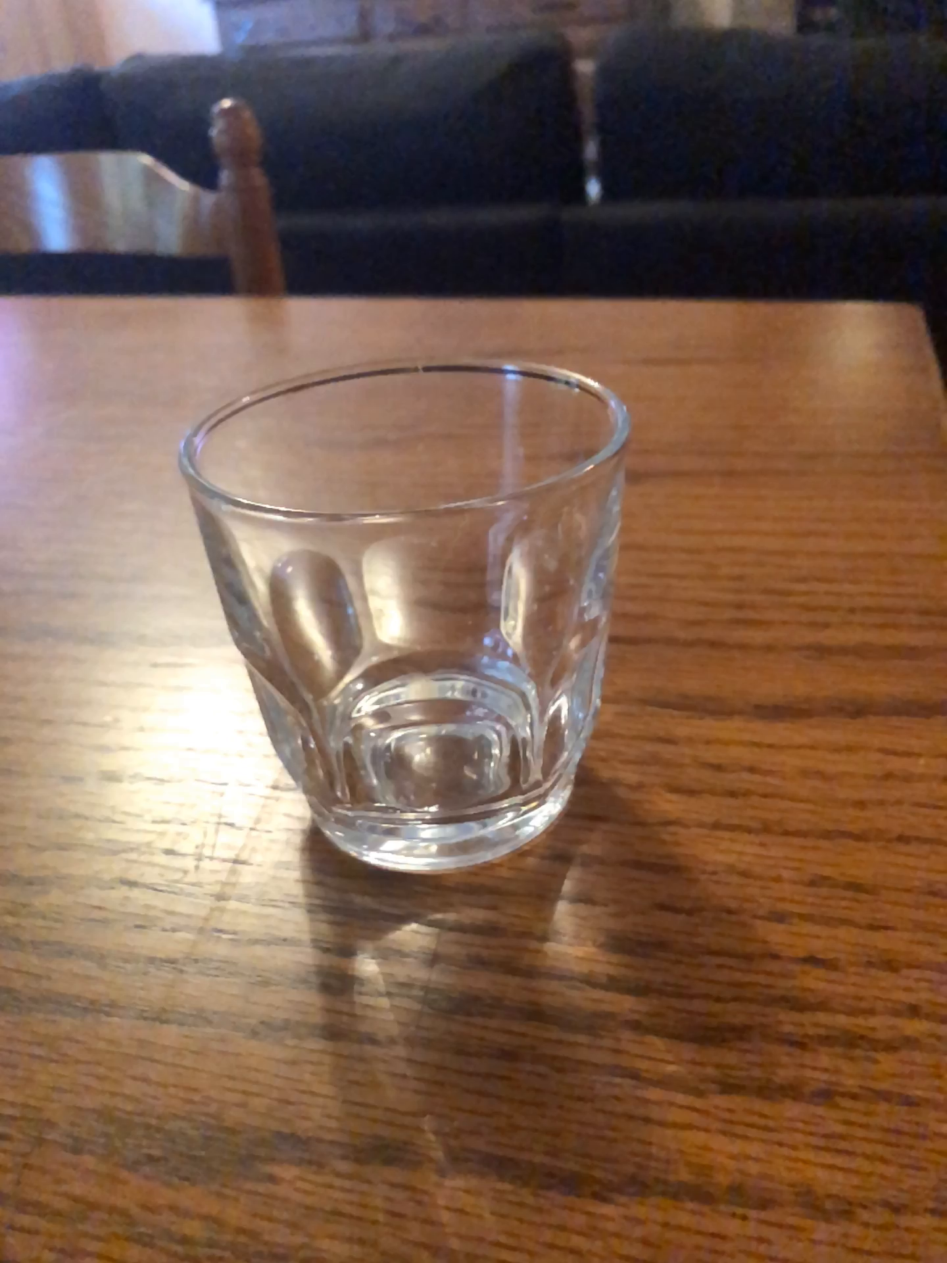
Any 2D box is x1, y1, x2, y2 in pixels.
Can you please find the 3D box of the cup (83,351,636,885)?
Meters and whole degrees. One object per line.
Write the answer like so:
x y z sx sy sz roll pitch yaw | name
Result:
-0.011 -0.007 0.207 0.082 0.069 0.083 -3 30 2 | cup
